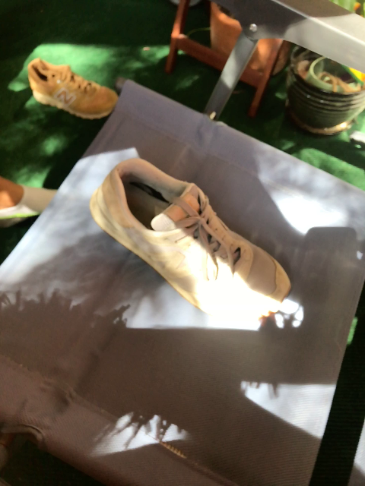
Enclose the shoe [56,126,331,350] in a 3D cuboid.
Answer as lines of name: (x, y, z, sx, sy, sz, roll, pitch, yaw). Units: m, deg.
shoe: (0.007, -0.014, 0.493, 0.287, 0.104, 0.125, 29, 63, 18)
